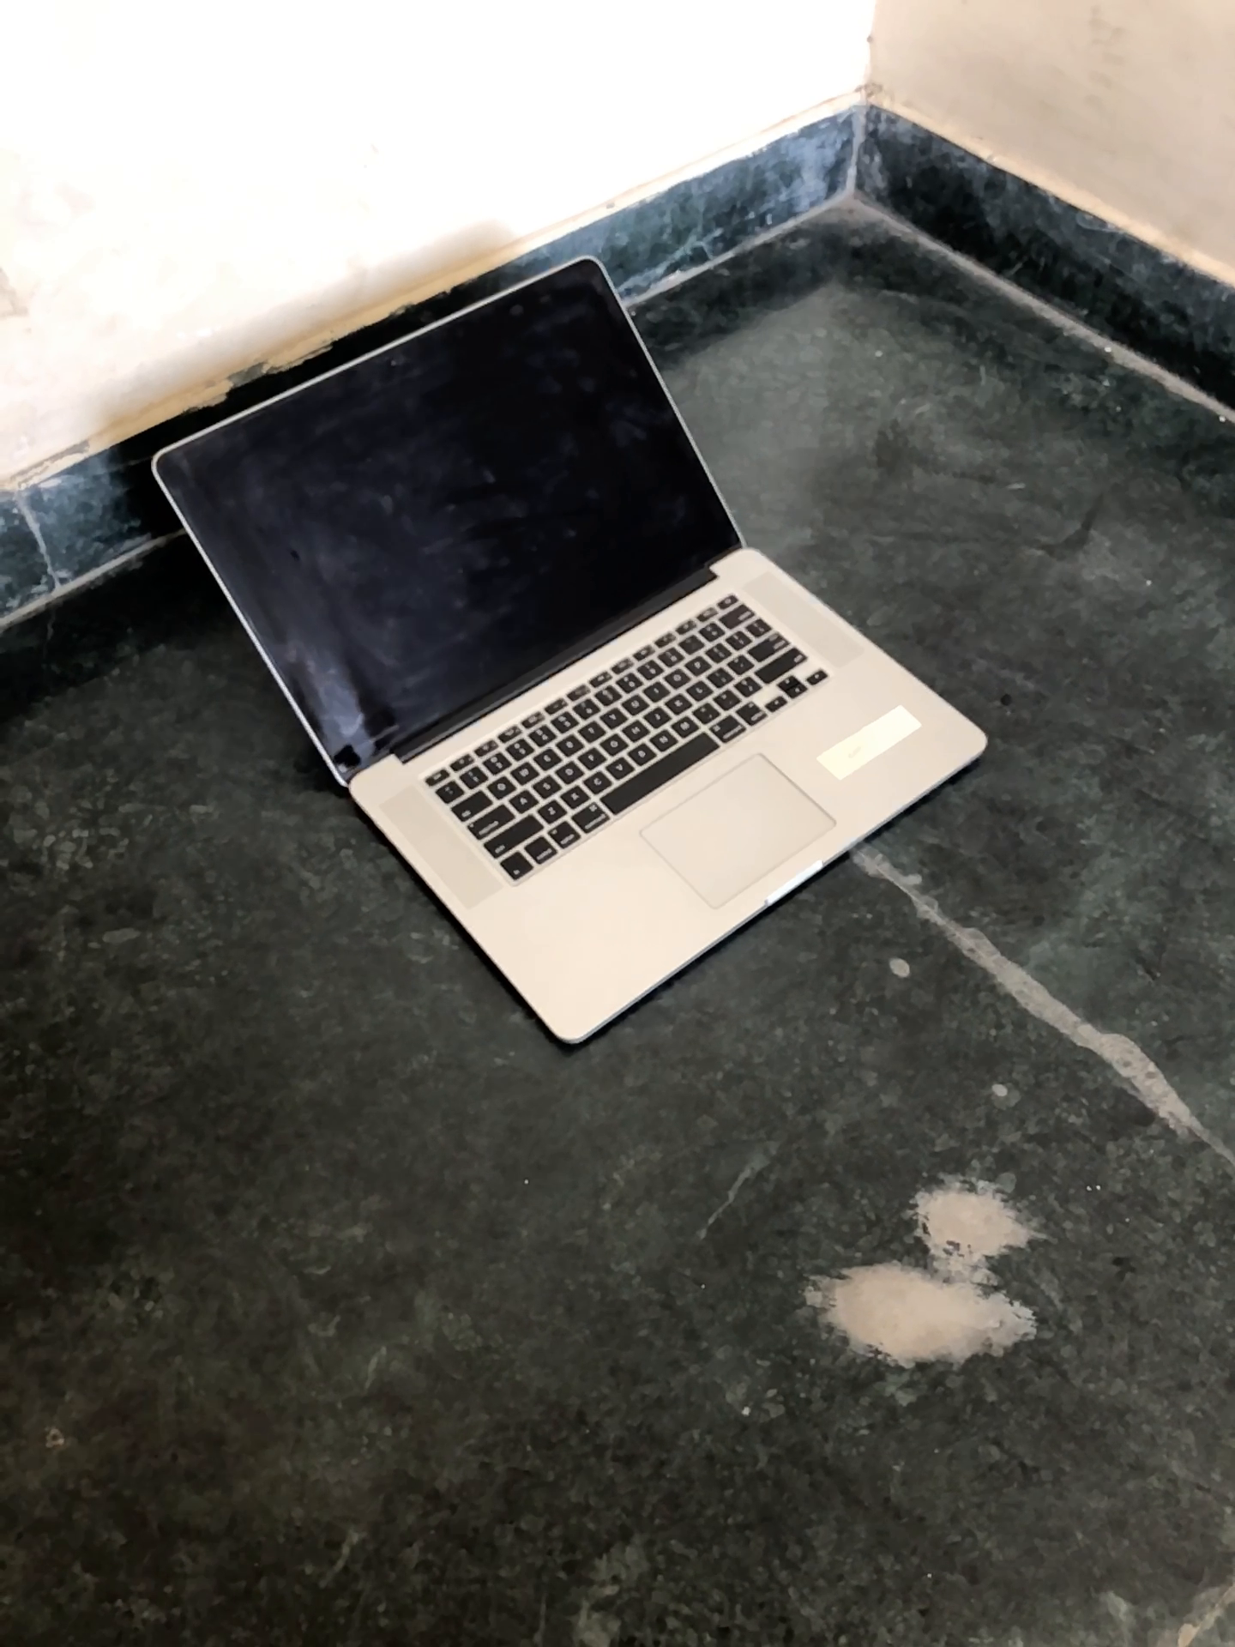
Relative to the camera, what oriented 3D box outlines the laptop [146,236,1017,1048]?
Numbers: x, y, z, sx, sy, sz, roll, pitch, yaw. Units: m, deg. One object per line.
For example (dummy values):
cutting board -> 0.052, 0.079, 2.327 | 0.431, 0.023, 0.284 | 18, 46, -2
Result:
laptop -> -0.029, -0.147, 0.878 | 0.343, 0.130, 0.433 | -33, 64, -22
